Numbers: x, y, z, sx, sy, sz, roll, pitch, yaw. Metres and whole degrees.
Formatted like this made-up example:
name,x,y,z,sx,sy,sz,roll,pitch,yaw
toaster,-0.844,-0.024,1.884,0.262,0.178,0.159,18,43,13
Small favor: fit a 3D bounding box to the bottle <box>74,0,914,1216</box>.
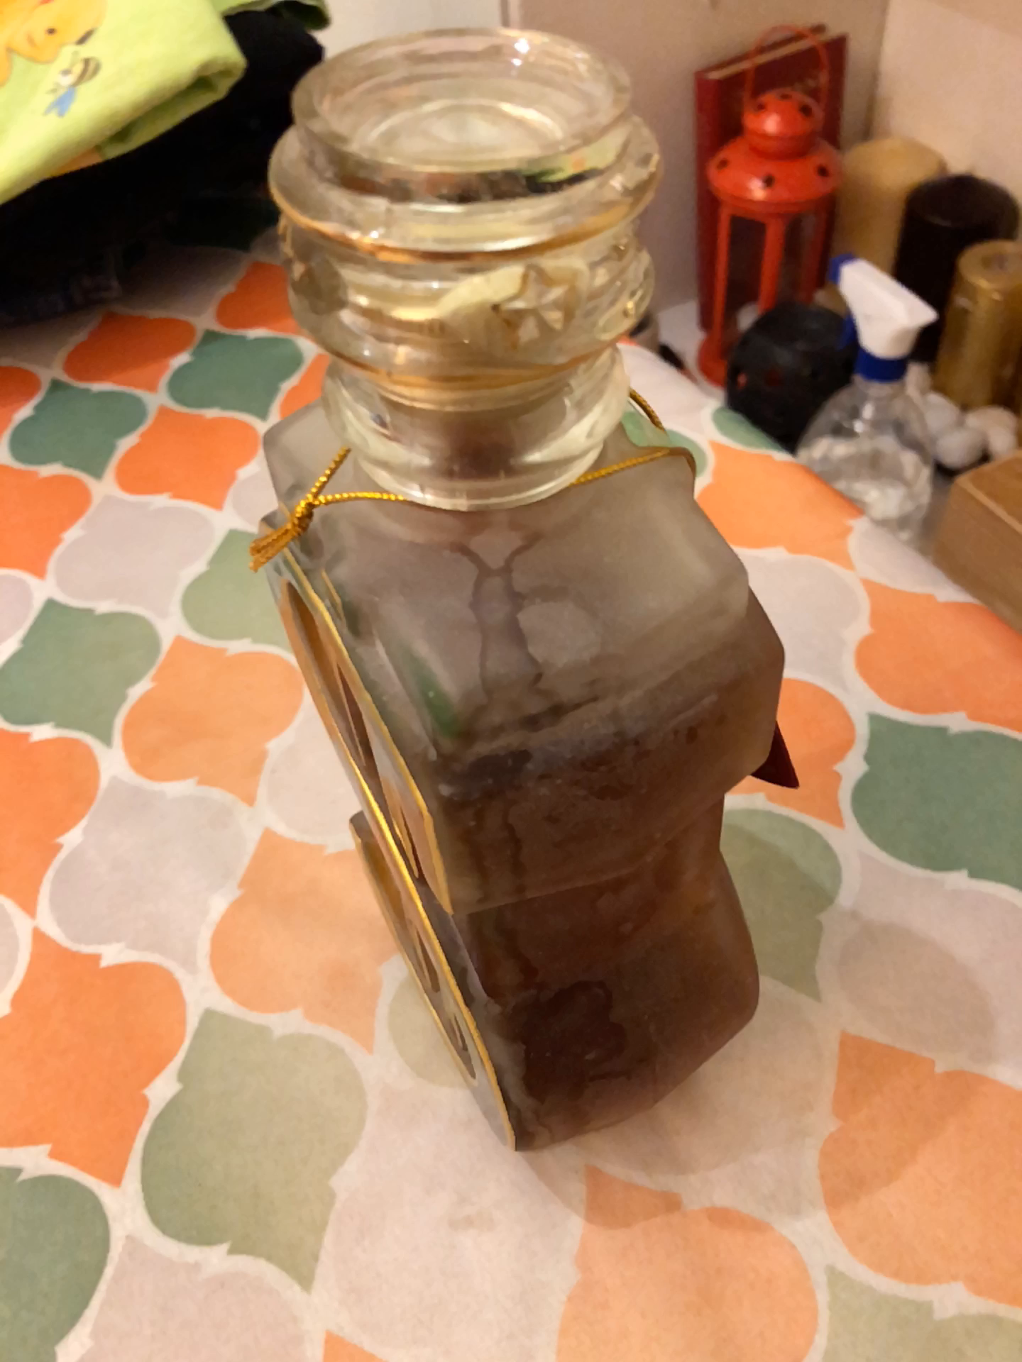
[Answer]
name,x,y,z,sx,sy,sz,roll,pitch,yaw
bottle,-0.001,0.006,0.224,0.064,0.233,0.101,-24,50,-15
